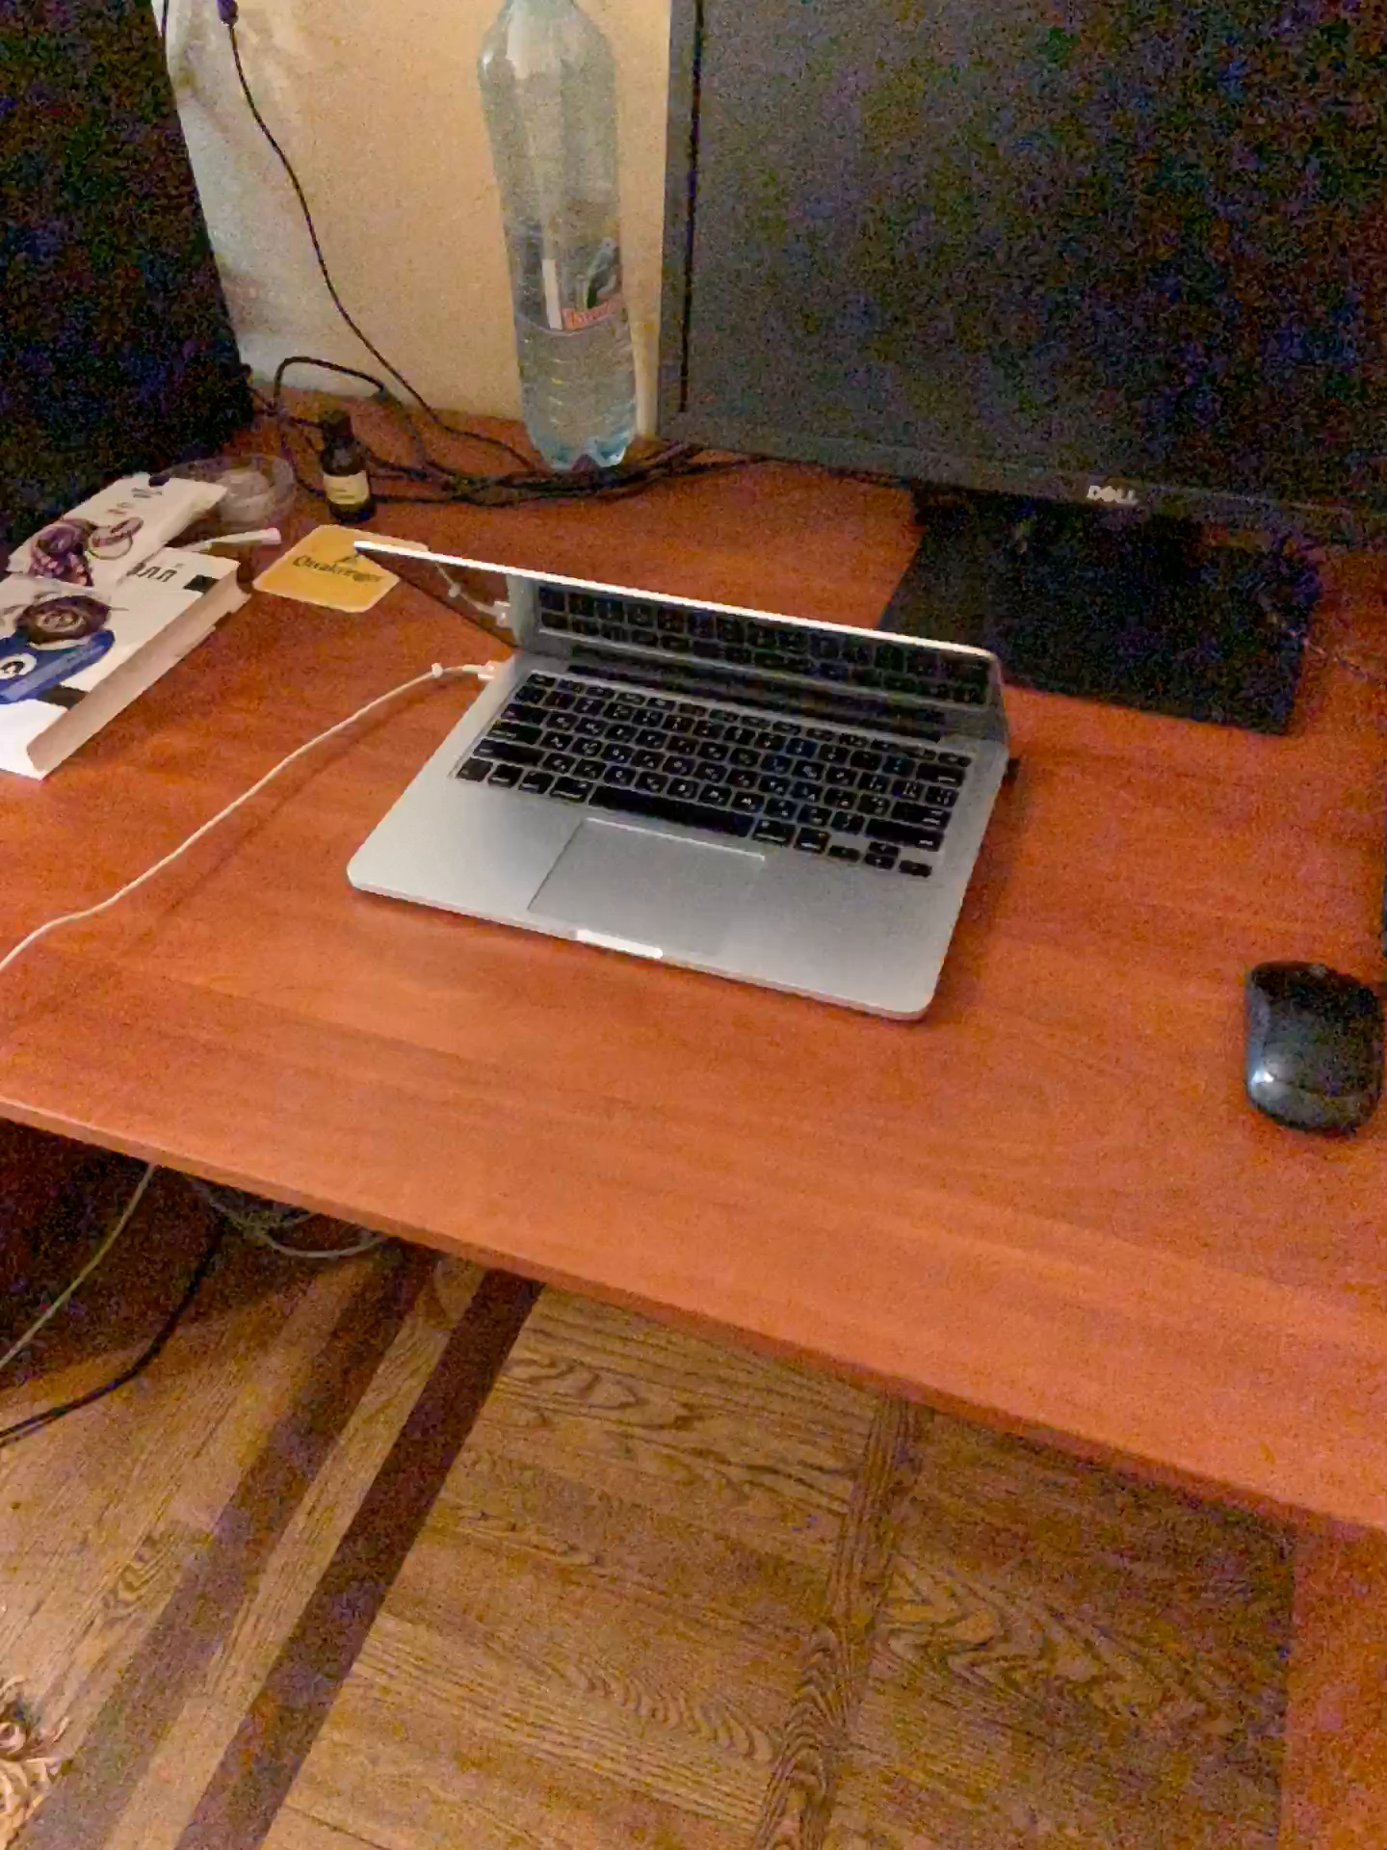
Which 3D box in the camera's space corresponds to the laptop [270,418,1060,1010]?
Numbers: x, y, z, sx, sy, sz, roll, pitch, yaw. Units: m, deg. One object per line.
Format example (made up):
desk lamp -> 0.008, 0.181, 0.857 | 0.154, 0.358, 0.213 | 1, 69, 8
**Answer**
laptop -> -0.002, -0.115, 0.693 | 0.303, 0.150, 0.208 | 13, 47, 14
